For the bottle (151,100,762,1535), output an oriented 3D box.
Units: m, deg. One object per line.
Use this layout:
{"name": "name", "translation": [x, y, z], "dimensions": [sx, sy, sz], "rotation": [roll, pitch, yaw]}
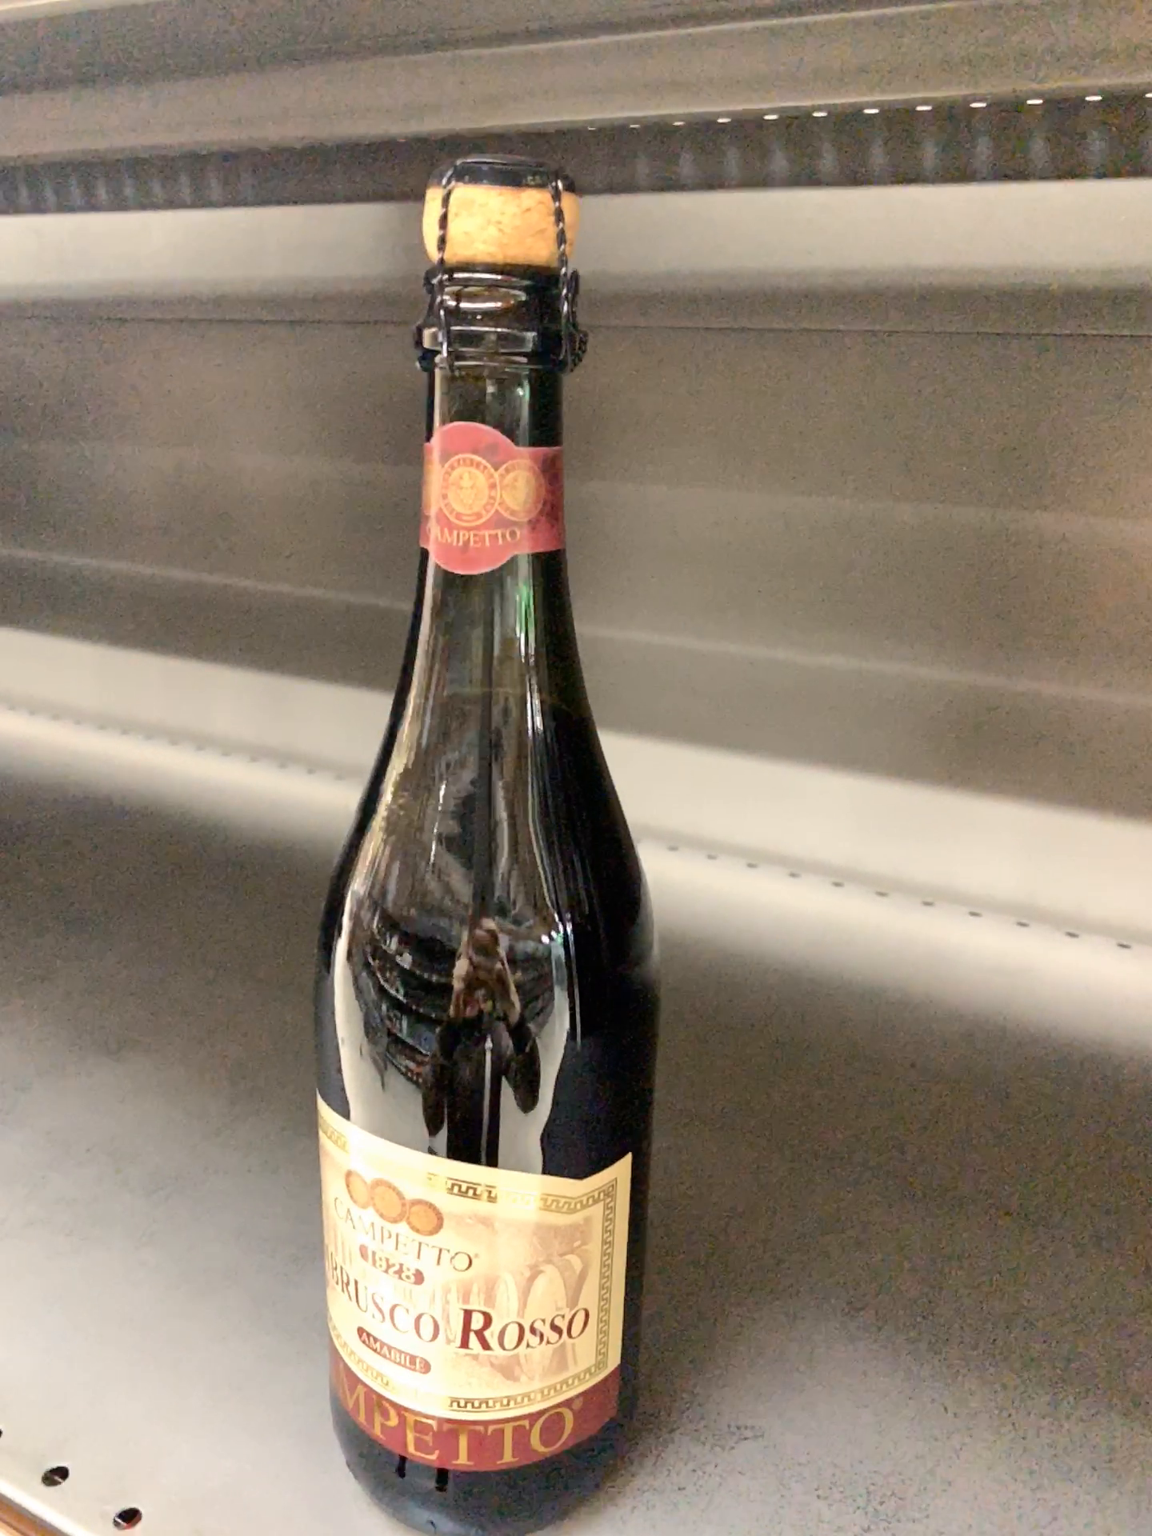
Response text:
{"name": "bottle", "translation": [-0.025, 0.025, 0.275], "dimensions": [0.090, 0.299, 0.080], "rotation": [10, 19, 23]}
